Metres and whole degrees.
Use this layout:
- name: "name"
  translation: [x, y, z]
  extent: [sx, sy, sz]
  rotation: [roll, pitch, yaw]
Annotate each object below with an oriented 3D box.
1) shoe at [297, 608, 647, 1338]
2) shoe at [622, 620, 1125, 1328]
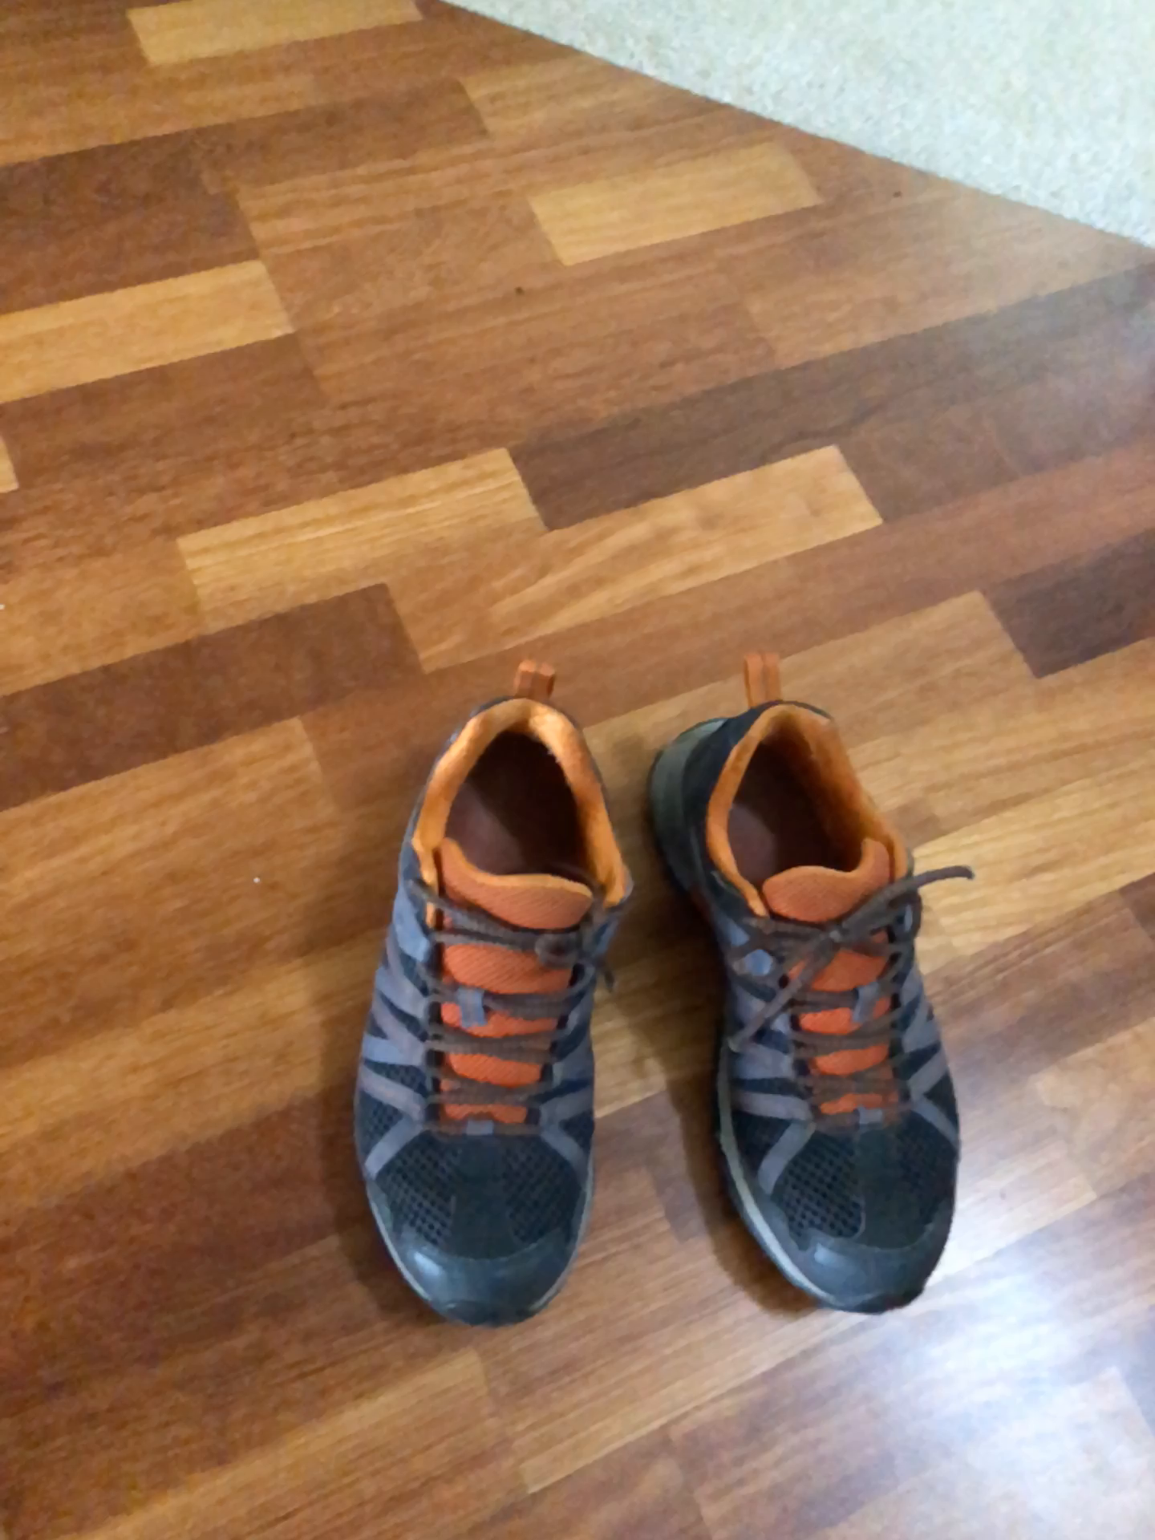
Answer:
- name: "shoe"
  translation: [-0.039, 0.086, 0.543]
  extent: [0.113, 0.117, 0.282]
  rotation: [5, 64, -5]
- name: "shoe"
  translation: [0.113, 0.087, 0.566]
  extent: [0.119, 0.117, 0.279]
  rotation: [-7, 65, -10]
